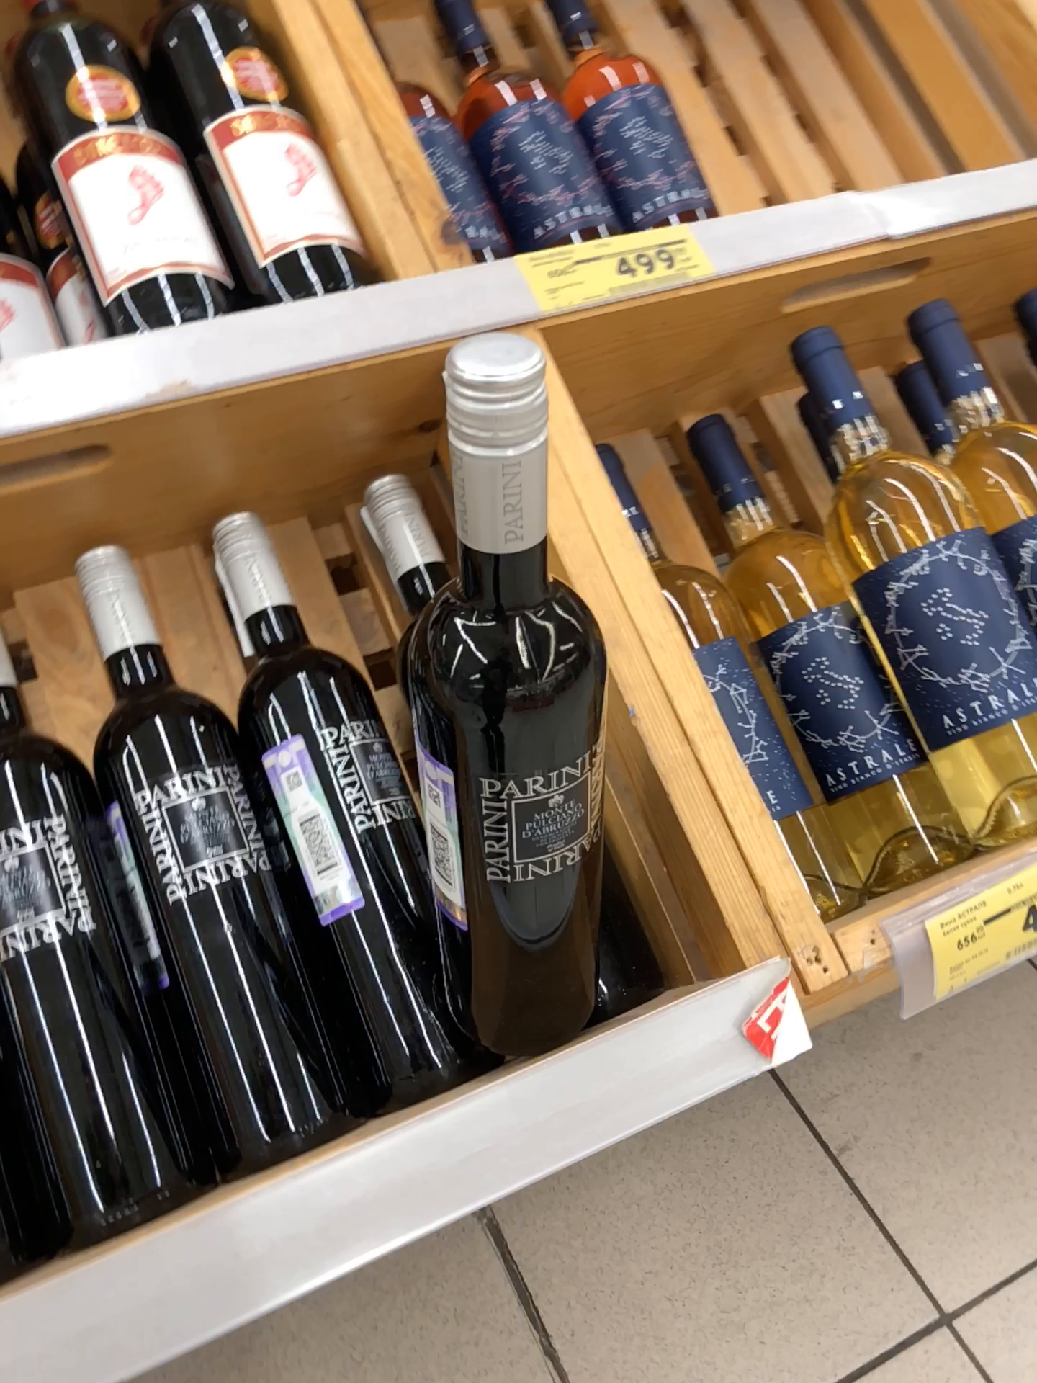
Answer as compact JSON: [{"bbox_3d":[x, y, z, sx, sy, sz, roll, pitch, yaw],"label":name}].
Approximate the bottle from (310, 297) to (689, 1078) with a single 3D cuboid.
[{"bbox_3d":[-0.006,0.015,0.413,0.090,0.278,0.080,-11,40,-12],"label":"bottle"}]
